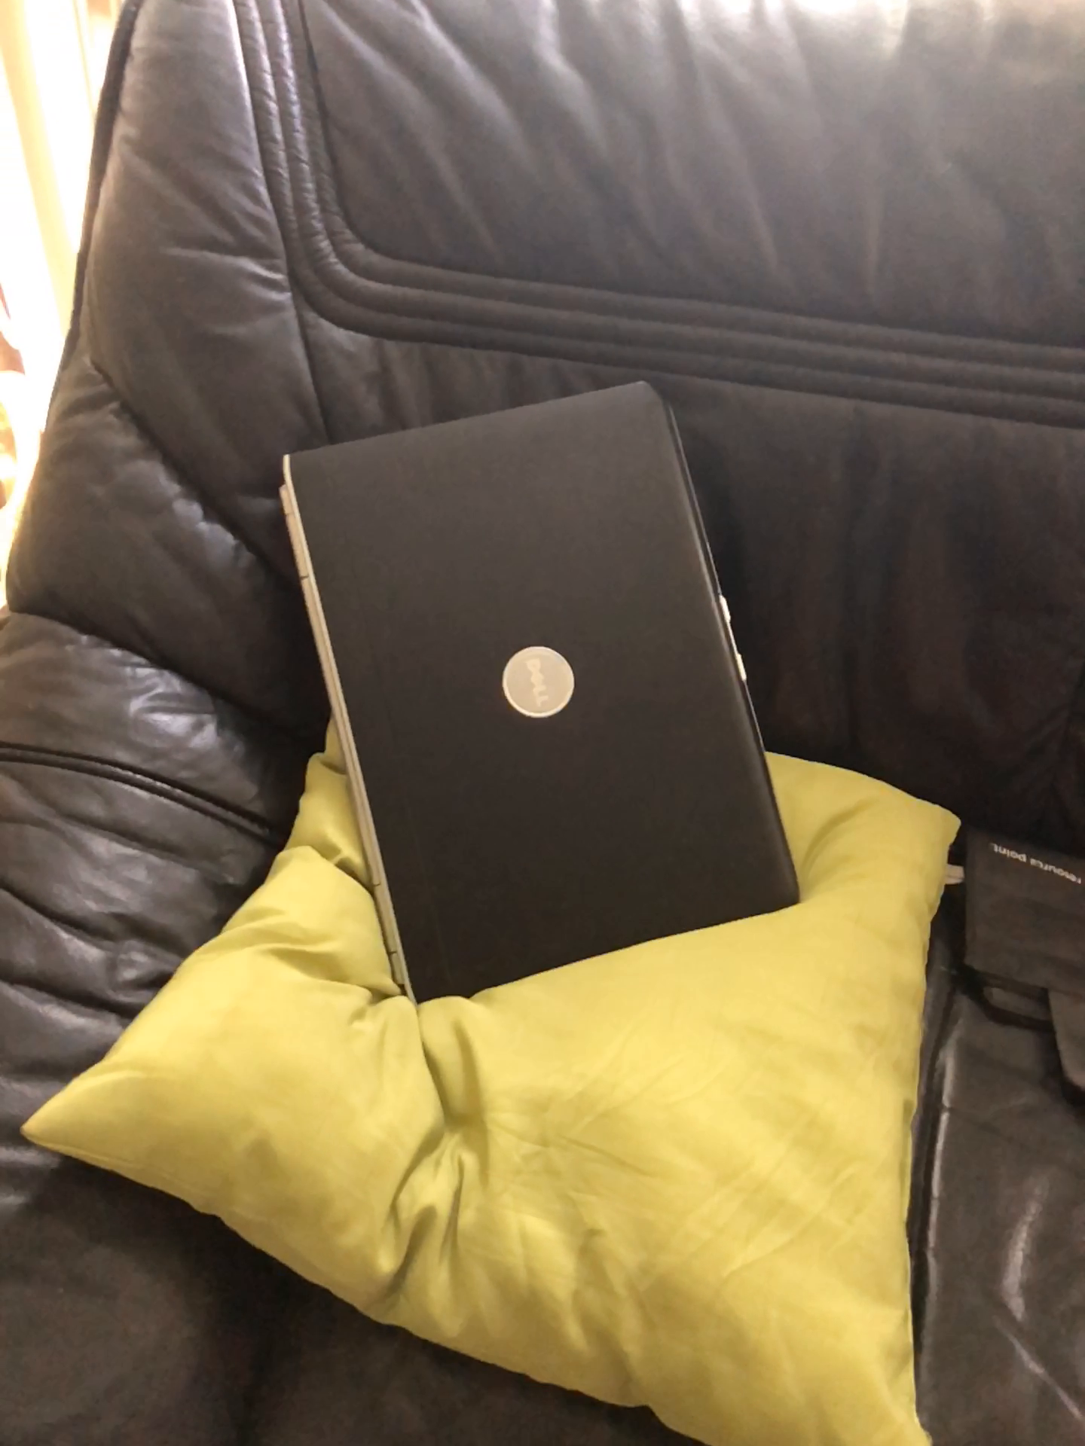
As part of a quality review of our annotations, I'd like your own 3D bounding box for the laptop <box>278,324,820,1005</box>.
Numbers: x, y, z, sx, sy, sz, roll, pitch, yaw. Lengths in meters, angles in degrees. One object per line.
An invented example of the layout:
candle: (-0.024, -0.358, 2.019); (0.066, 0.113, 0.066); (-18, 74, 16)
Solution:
laptop: (0.001, -0.041, 0.724); (0.247, 0.033, 0.345); (-13, 83, -6)
